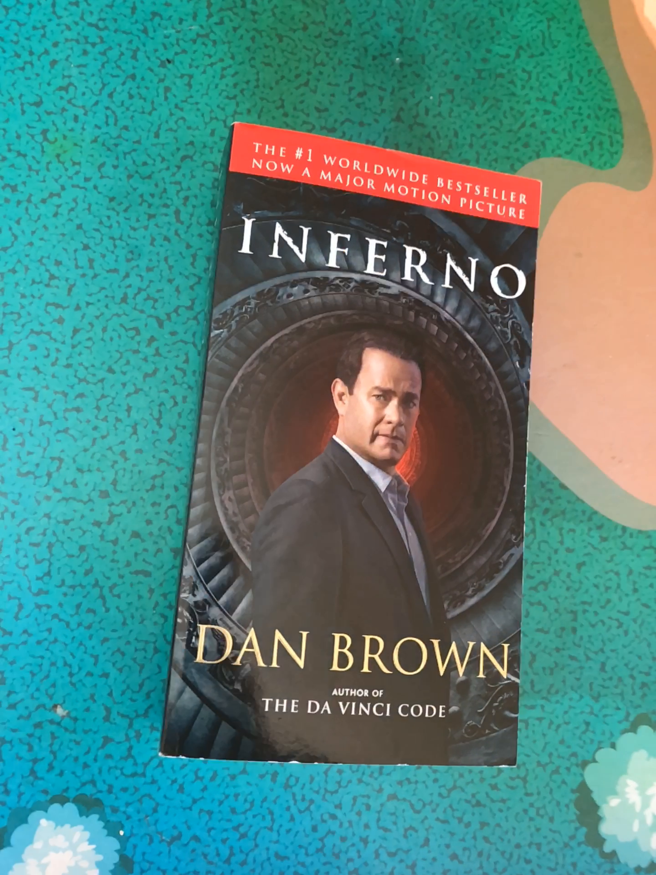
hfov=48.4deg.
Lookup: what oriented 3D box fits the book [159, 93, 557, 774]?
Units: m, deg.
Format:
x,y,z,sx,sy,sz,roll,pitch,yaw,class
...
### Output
x,y,z,sx,sy,sz,roll,pitch,yaw,class
0.010,0.001,0.254,0.110,0.060,0.200,7,81,-13,book
